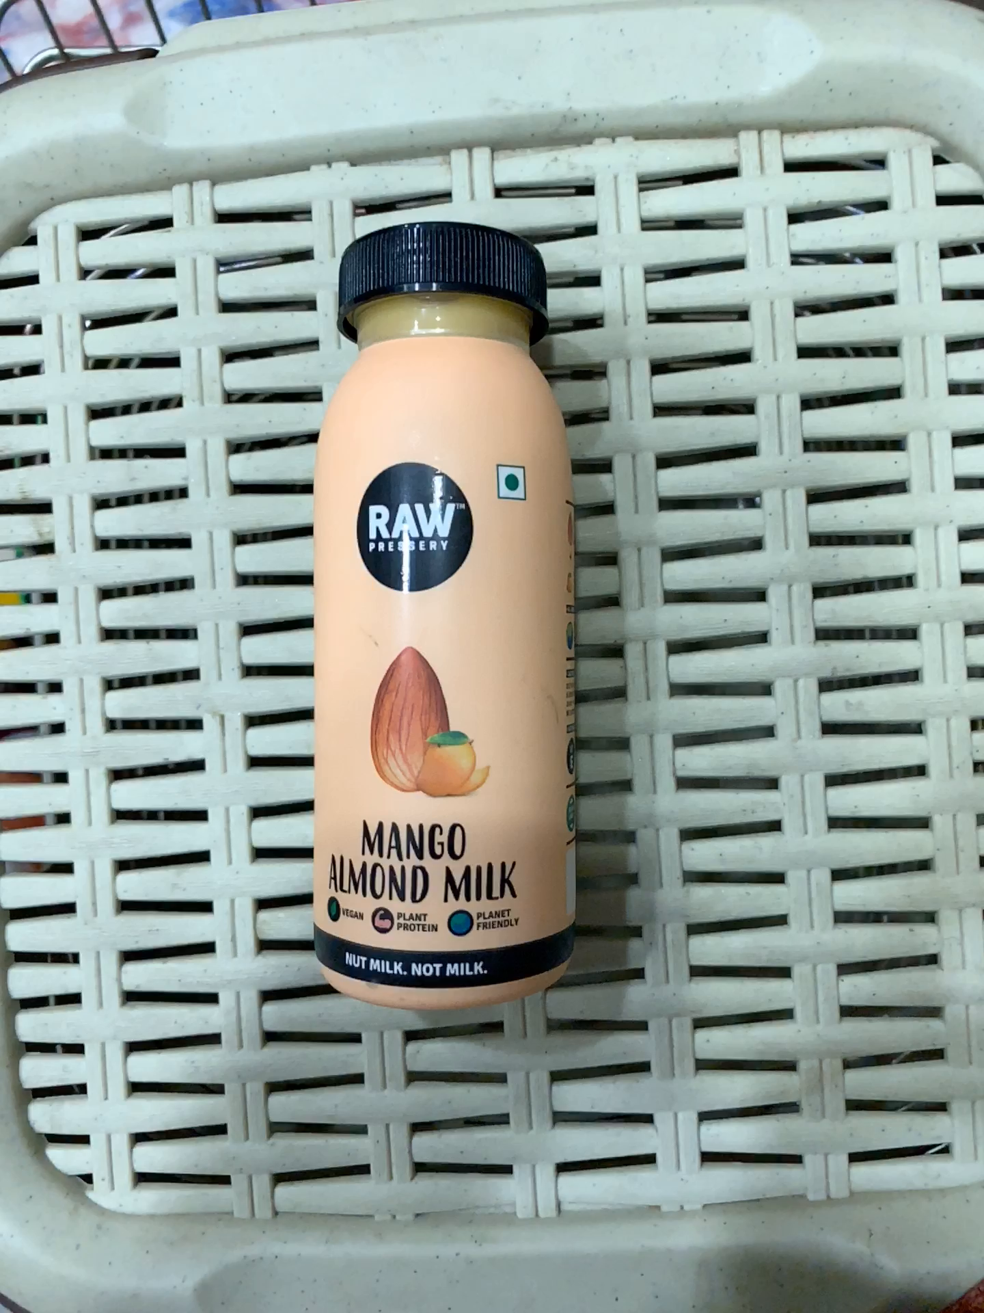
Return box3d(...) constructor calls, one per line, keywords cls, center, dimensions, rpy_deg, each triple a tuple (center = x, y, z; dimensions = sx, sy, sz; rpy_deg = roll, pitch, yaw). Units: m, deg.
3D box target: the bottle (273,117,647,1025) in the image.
box3d(cls="bottle", center=(-0.005, -0.015, 0.190), dimensions=(0.060, 0.040, 0.150), rpy_deg=(1, 90, 1))
